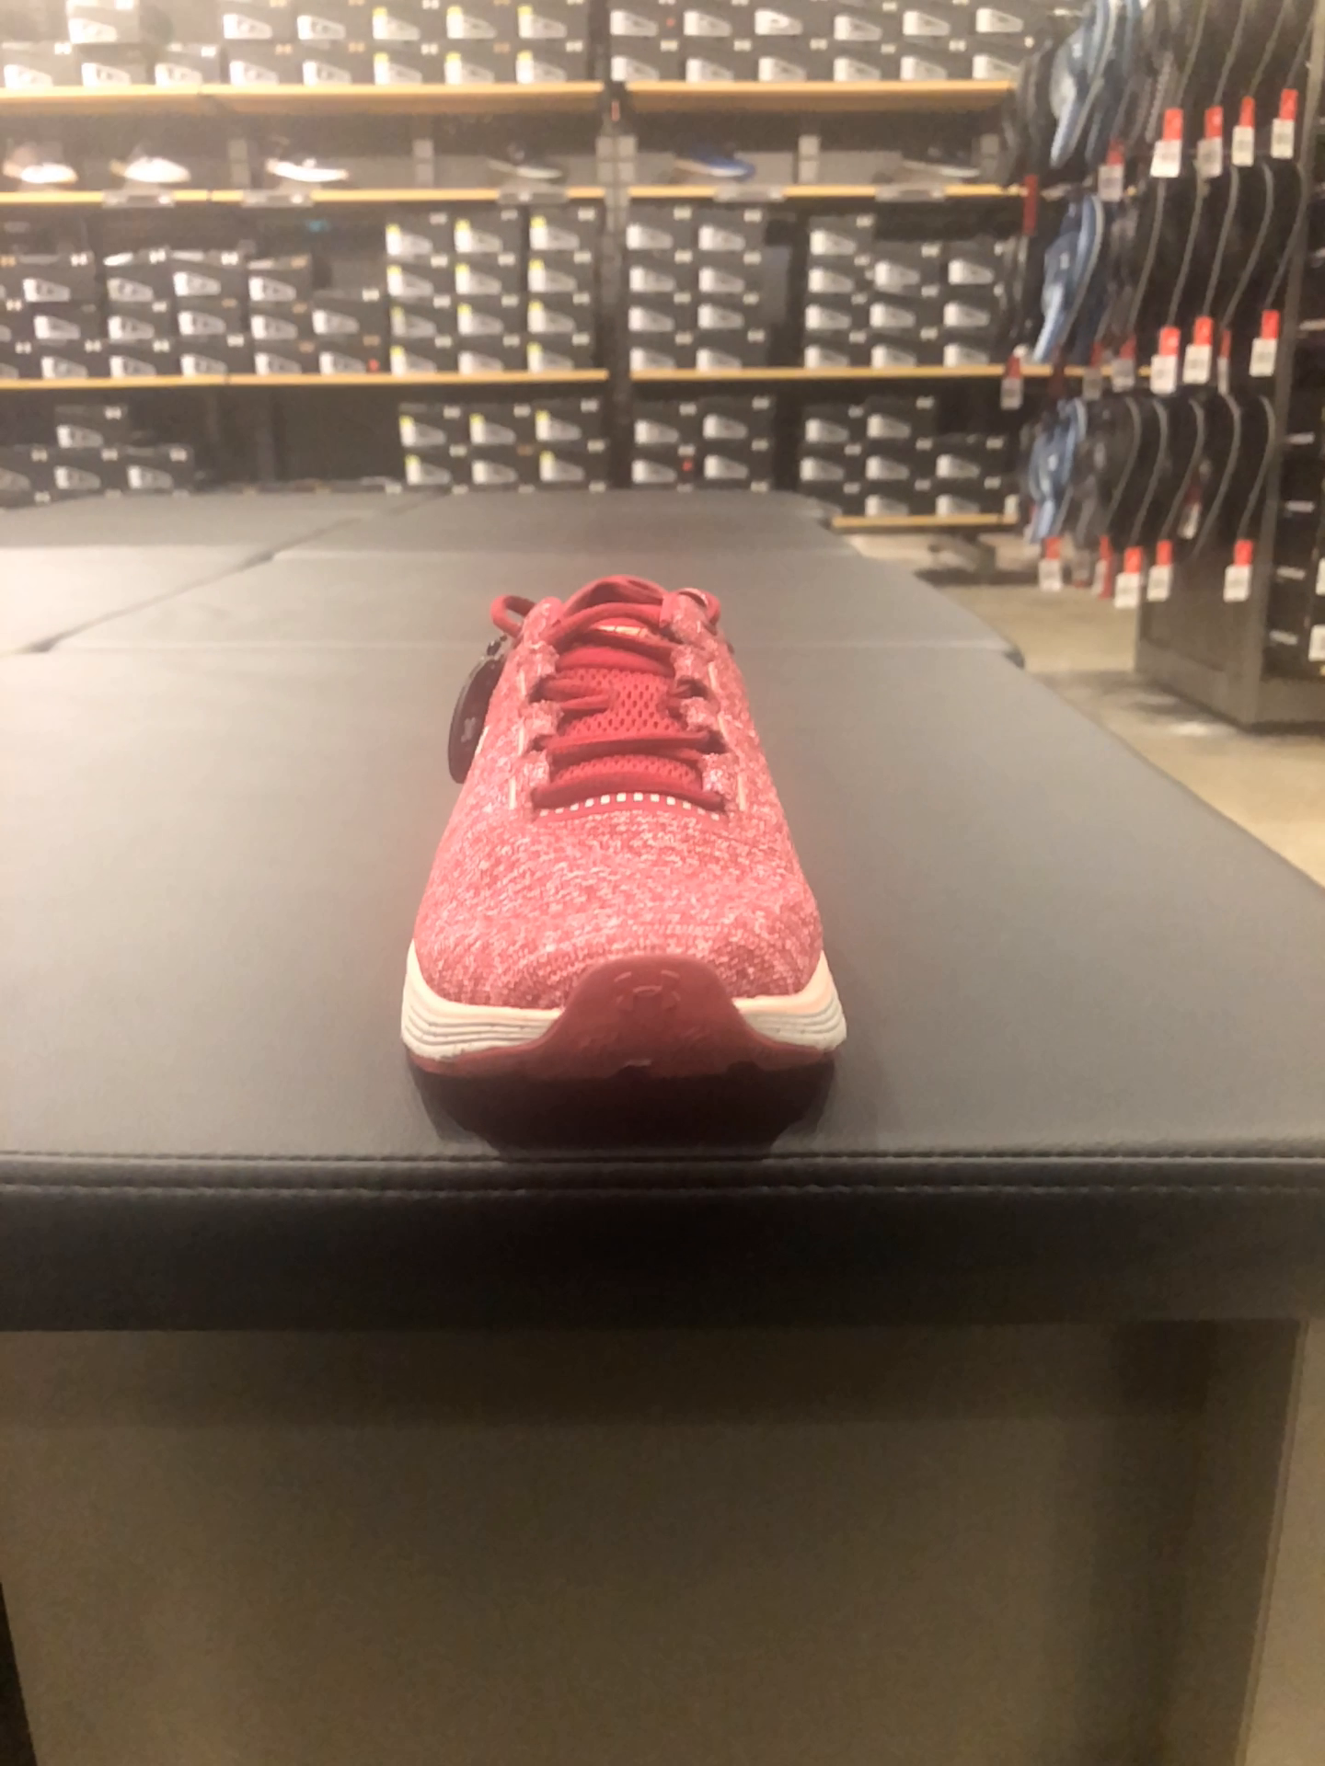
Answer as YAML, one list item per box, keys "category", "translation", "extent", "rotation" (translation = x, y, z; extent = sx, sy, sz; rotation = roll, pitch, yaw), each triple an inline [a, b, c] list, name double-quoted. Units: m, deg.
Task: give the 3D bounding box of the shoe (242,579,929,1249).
- category: "shoe"
  translation: [-0.027, -0.017, 0.394]
  extent: [0.121, 0.097, 0.254]
  rotation: [-3, 18, -6]
